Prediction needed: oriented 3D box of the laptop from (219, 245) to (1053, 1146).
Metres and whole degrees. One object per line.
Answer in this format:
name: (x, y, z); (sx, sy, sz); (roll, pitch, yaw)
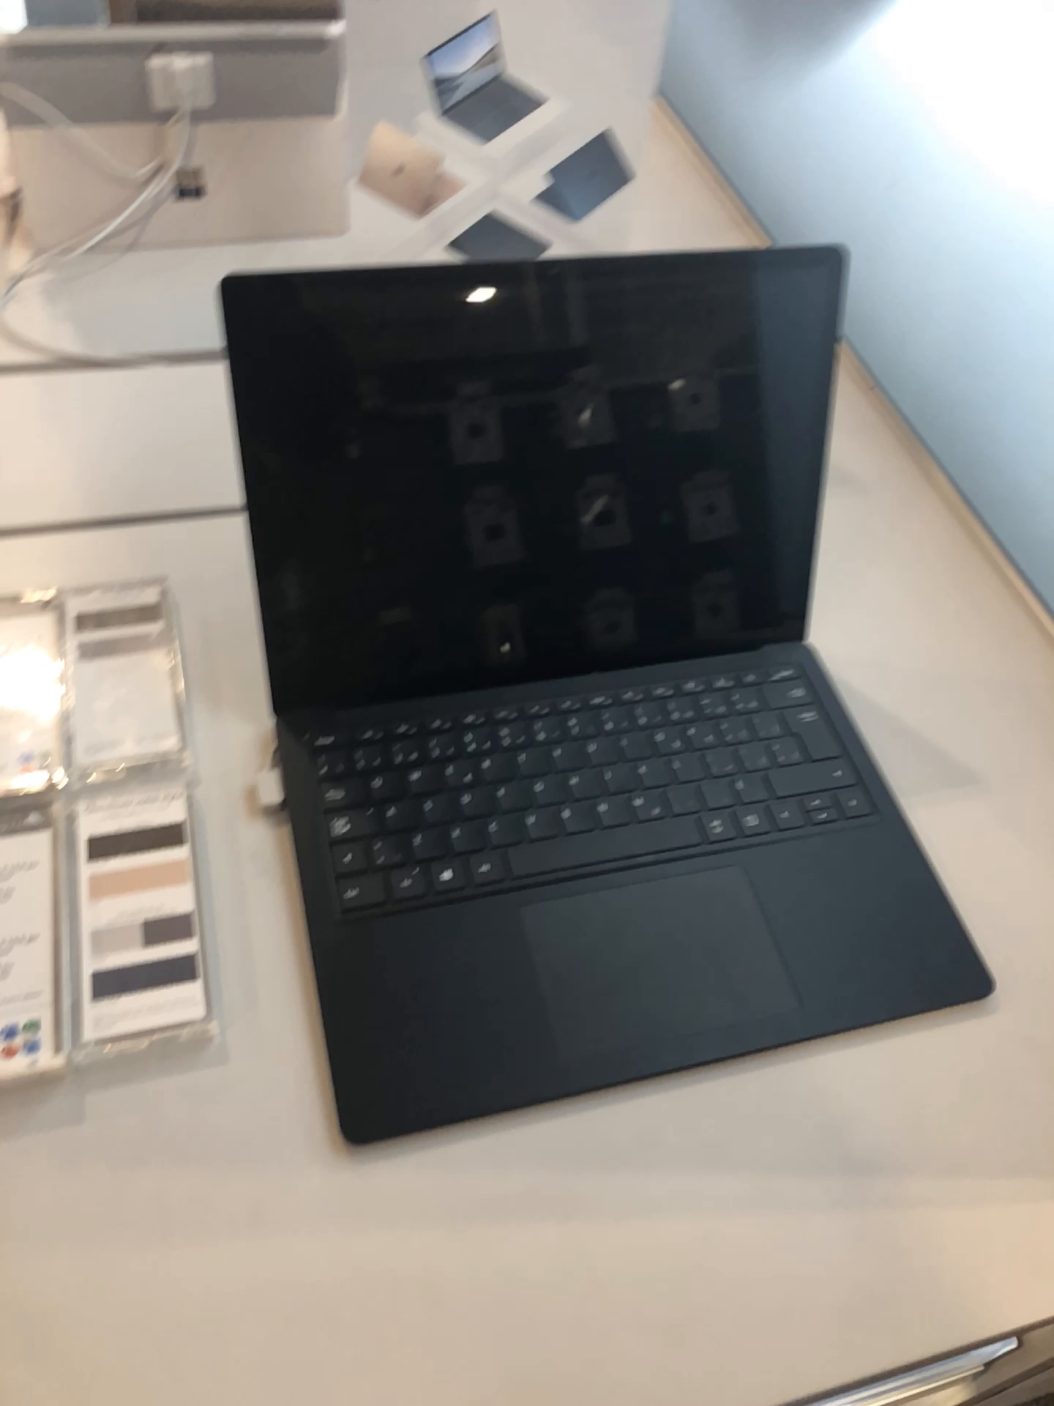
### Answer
laptop: (0.044, -0.027, 0.525); (0.308, 0.197, 0.314); (-8, 51, -15)
